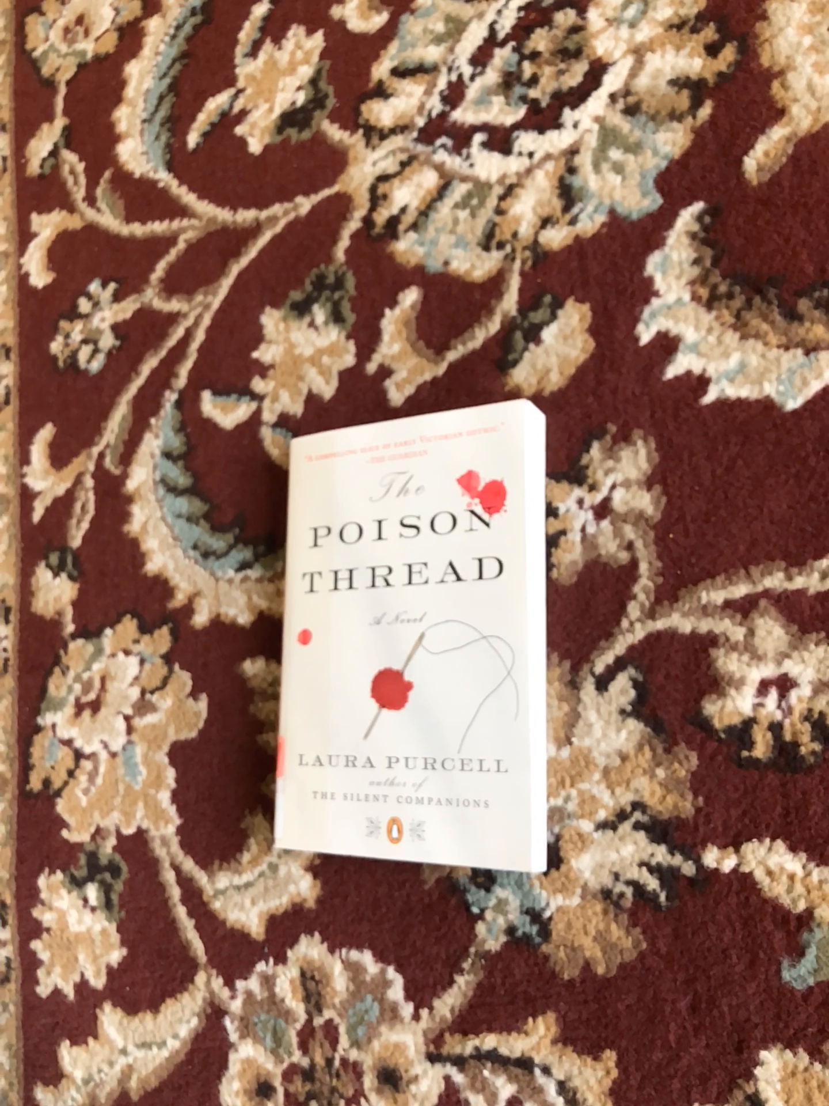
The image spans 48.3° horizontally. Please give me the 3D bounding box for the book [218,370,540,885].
[{"bbox_3d":[-0.018,0.032,0.405,0.140,0.030,0.200,-5,78,29],"label":"book"}]
